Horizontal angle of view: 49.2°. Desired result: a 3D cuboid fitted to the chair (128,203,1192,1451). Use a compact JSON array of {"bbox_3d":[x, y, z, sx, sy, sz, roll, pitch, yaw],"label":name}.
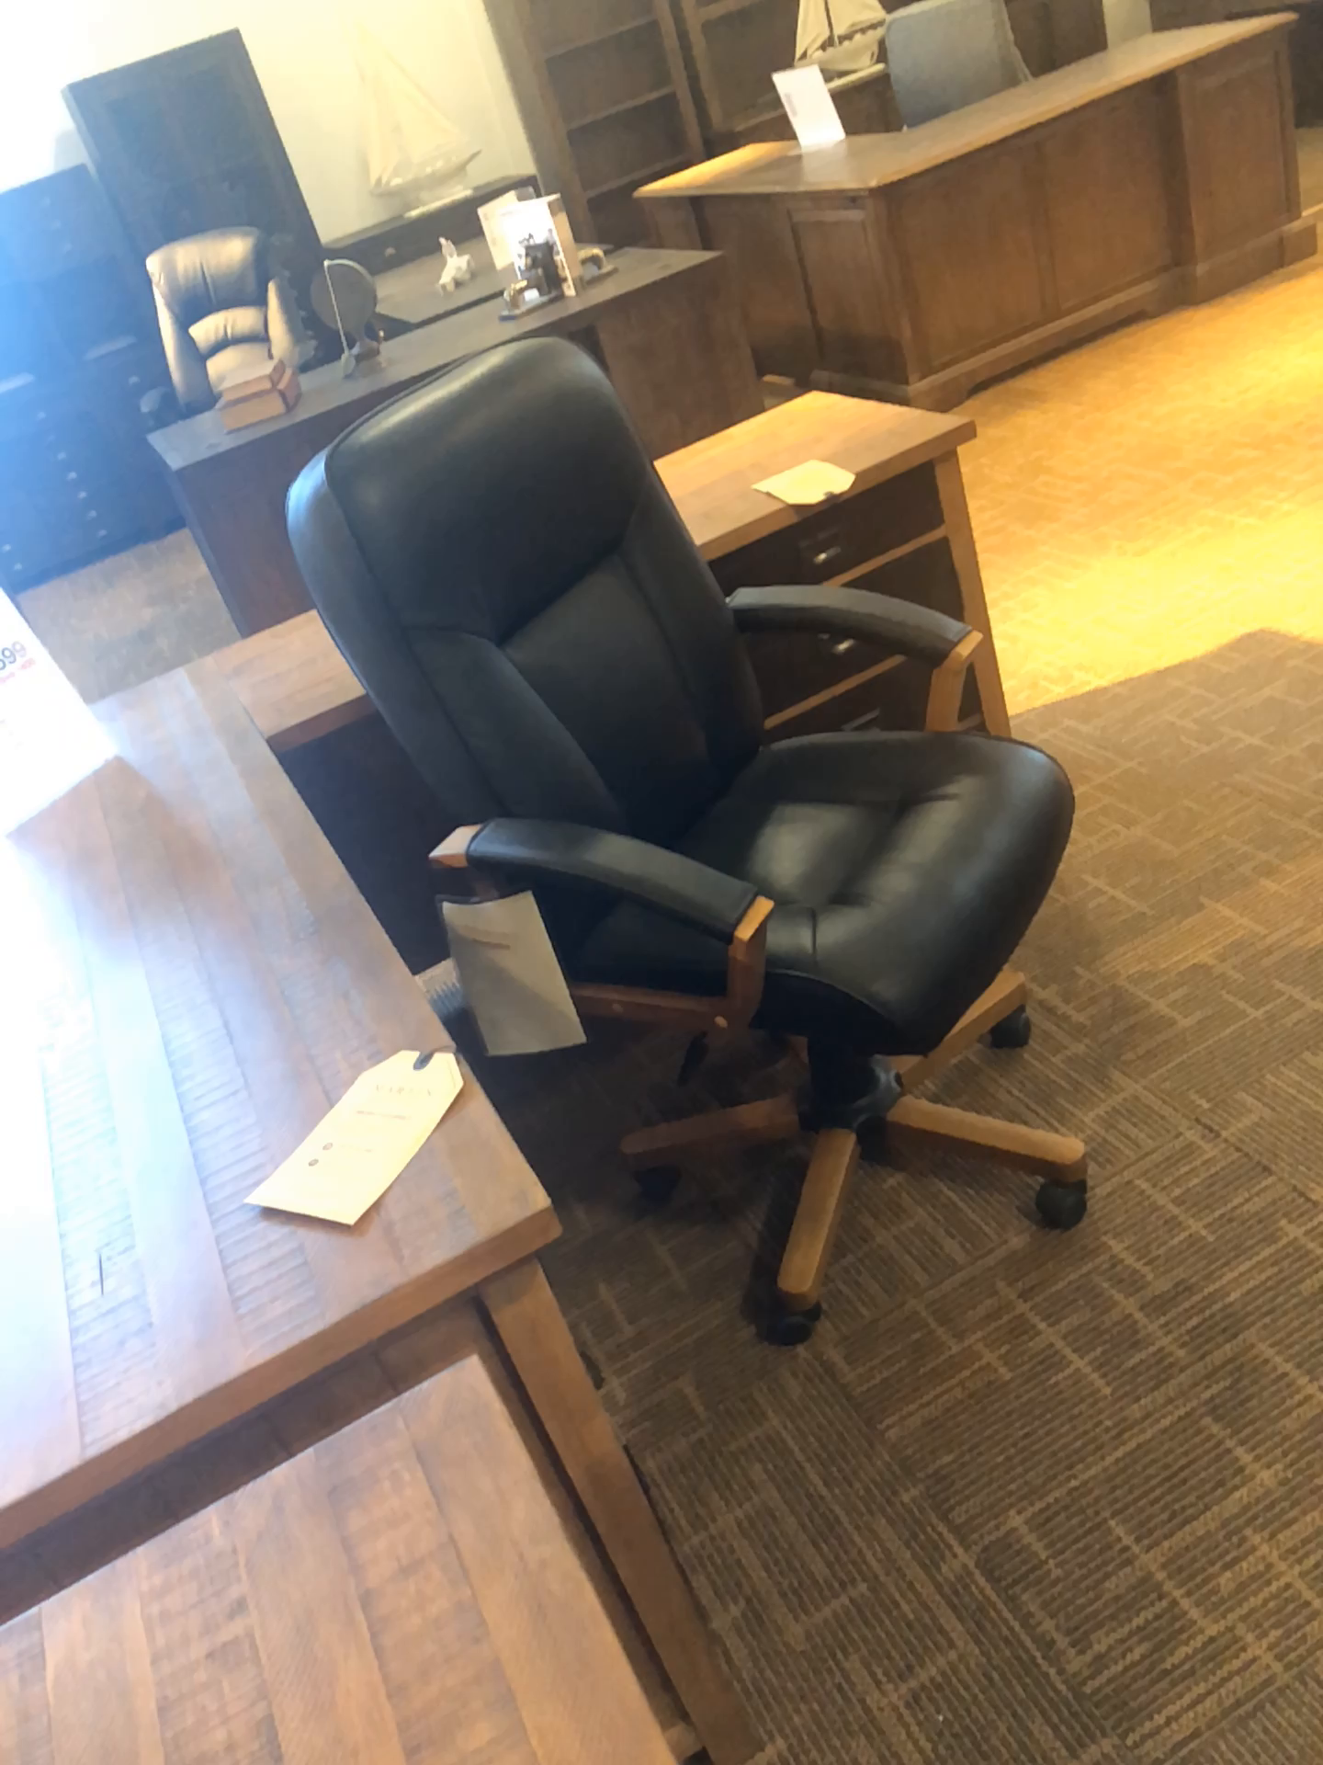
[{"bbox_3d":[0.100,-0.078,1.767,0.744,1.105,0.740,7,39,38],"label":"chair"}]
